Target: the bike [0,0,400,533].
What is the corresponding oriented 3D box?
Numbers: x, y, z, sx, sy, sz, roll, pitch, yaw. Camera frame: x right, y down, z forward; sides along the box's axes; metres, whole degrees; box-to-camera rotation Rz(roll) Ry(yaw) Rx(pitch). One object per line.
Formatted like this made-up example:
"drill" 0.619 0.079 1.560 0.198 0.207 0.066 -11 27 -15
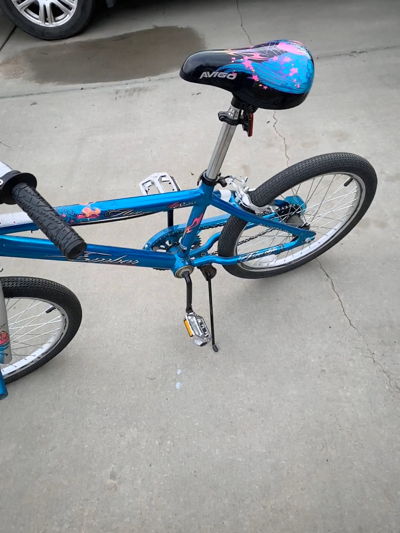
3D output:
"bike" -0.102 -0.014 0.899 1.383 0.837 0.685 -21 51 -13
